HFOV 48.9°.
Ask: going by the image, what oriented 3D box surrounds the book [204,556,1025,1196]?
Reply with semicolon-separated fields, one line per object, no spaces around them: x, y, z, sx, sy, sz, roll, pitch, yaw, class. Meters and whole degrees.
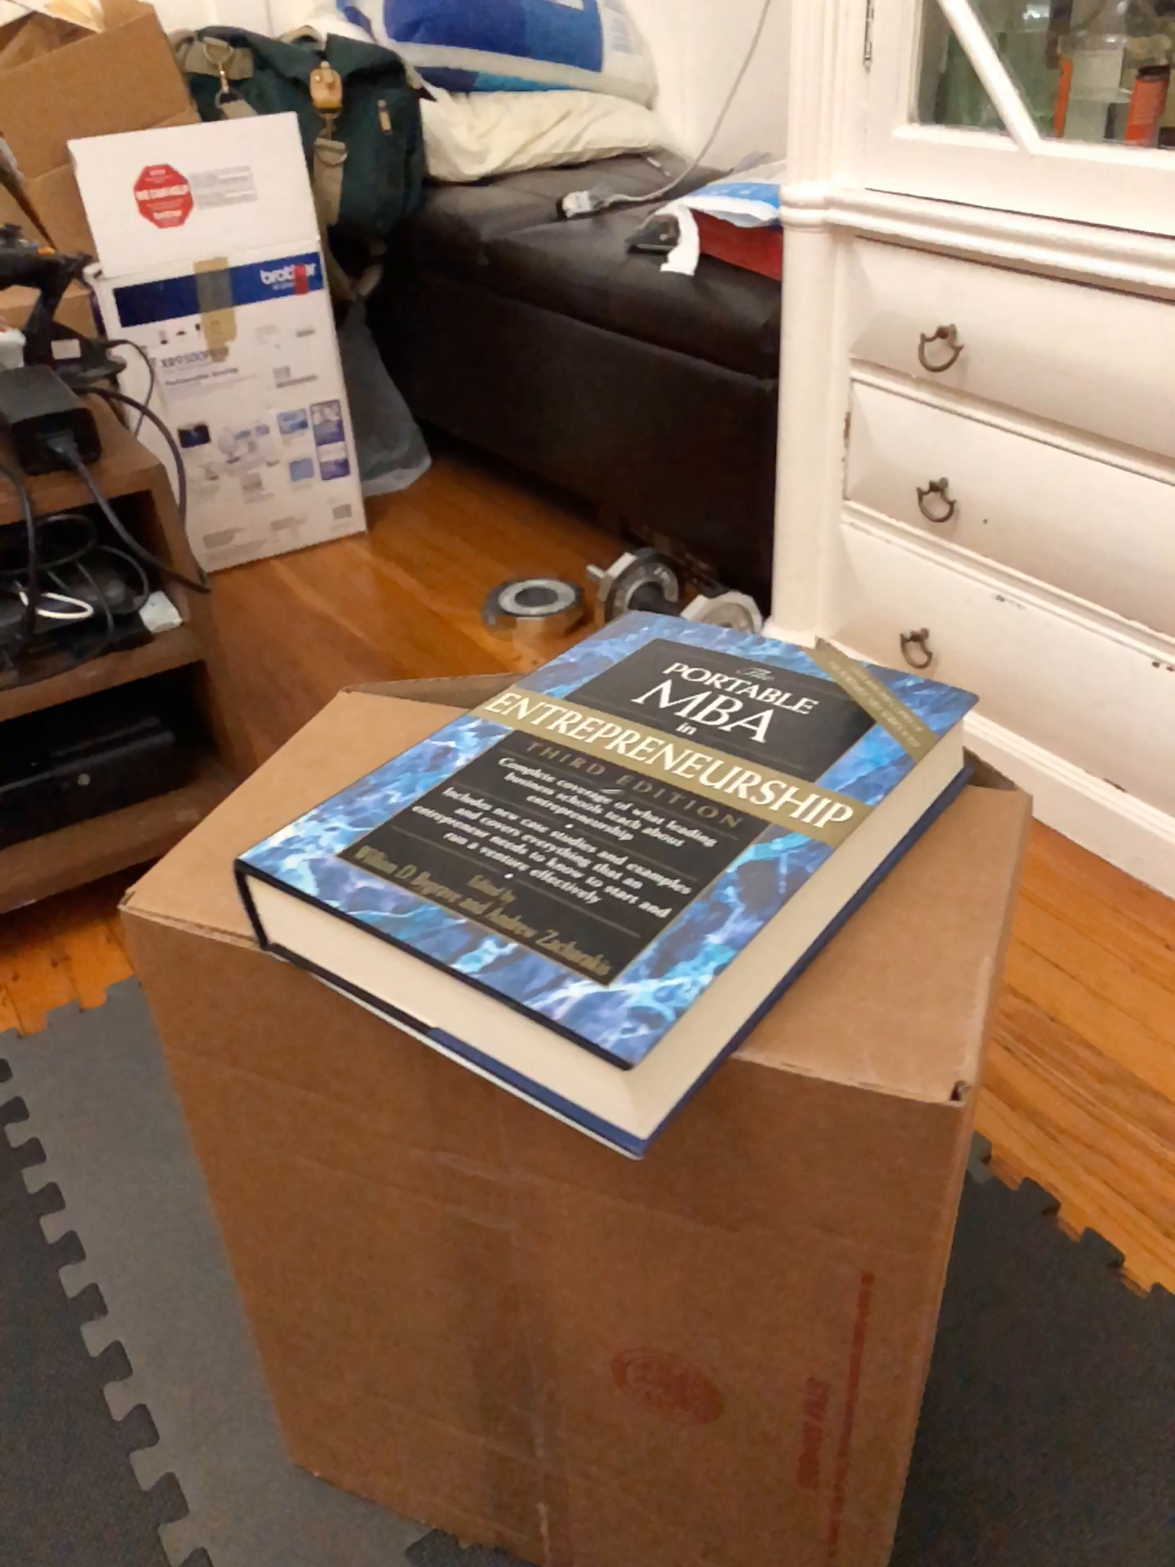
0.023;0.007;0.532;0.210;0.060;0.271;20;42;32;book
